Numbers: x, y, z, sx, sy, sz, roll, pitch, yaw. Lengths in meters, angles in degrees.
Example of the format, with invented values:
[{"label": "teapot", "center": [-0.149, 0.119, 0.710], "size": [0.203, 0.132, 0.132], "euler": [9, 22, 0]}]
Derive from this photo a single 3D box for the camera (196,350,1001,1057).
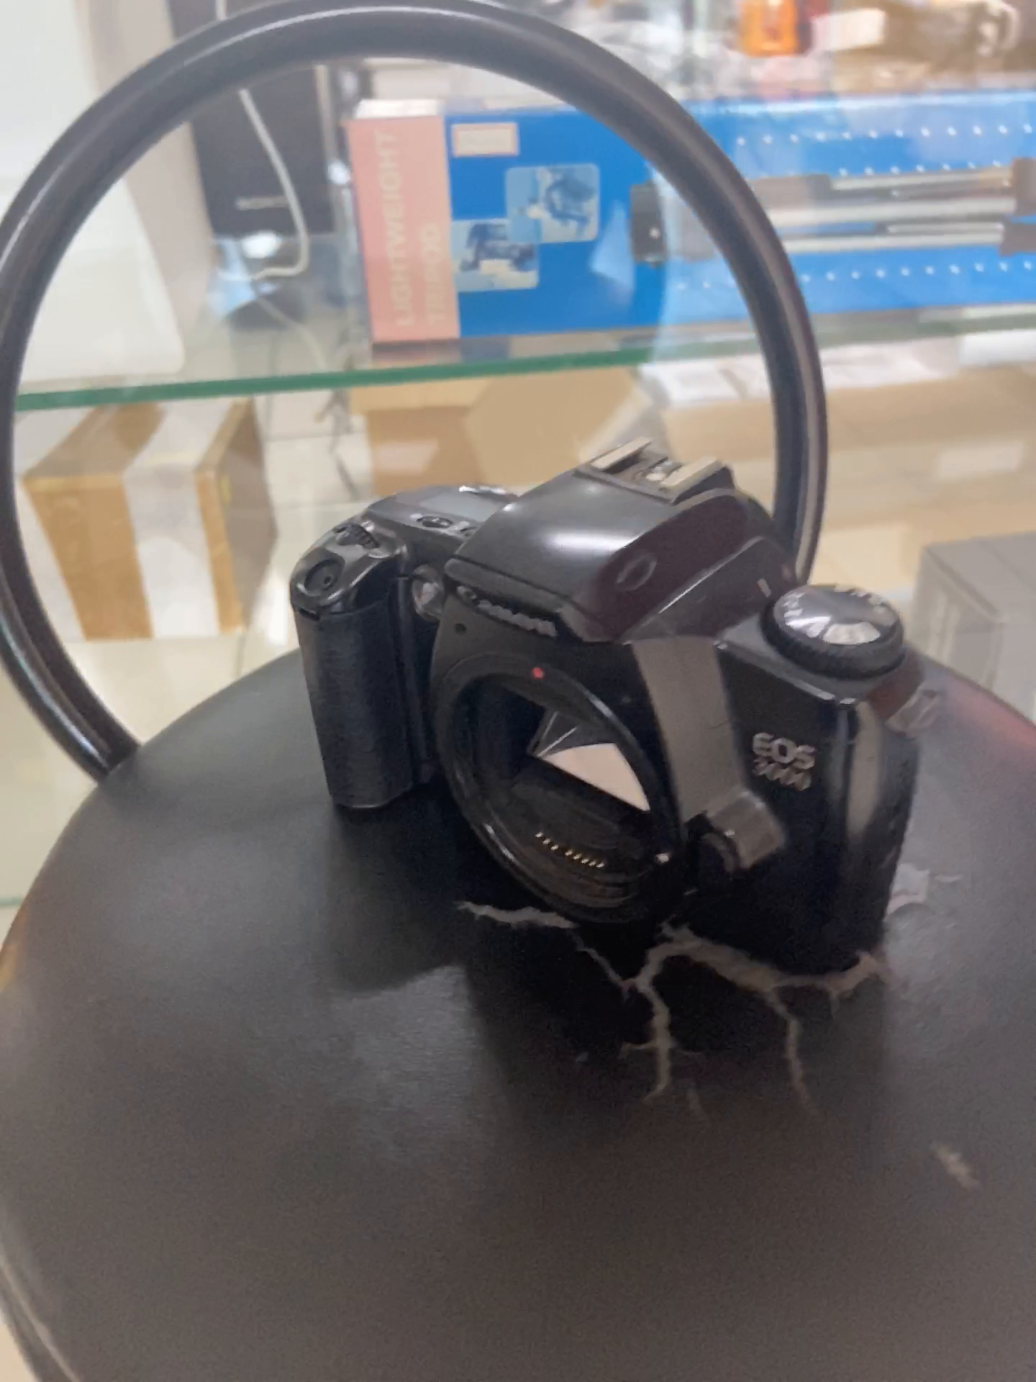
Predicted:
[{"label": "camera", "center": [0.012, -0.009, 0.232], "size": [0.140, 0.089, 0.070], "euler": [22, 41, 34]}]
